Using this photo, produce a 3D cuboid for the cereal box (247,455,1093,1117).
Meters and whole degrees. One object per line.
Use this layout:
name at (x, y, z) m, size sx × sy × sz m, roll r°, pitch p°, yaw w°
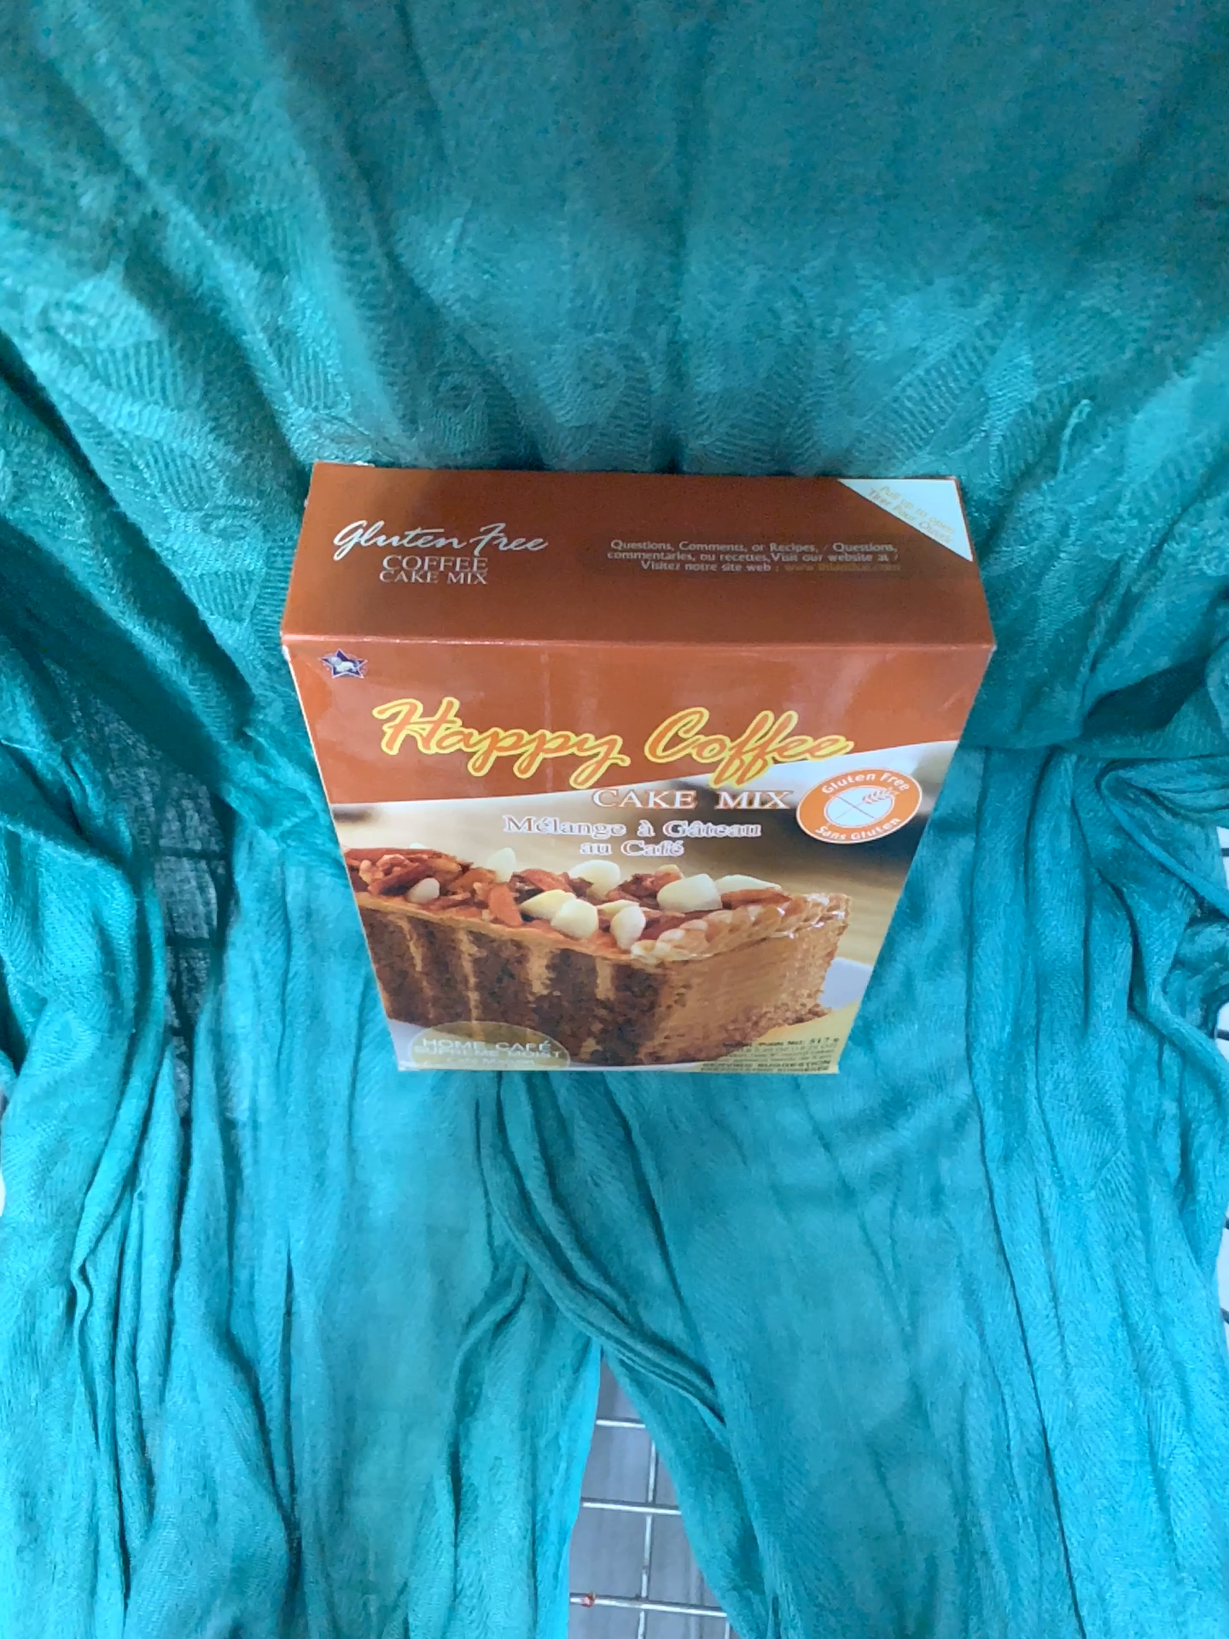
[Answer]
cereal box at (0.007, 0.010, 0.324) m, size 0.150 × 0.210 × 0.050 m, roll 1°, pitch 54°, yaw -1°
